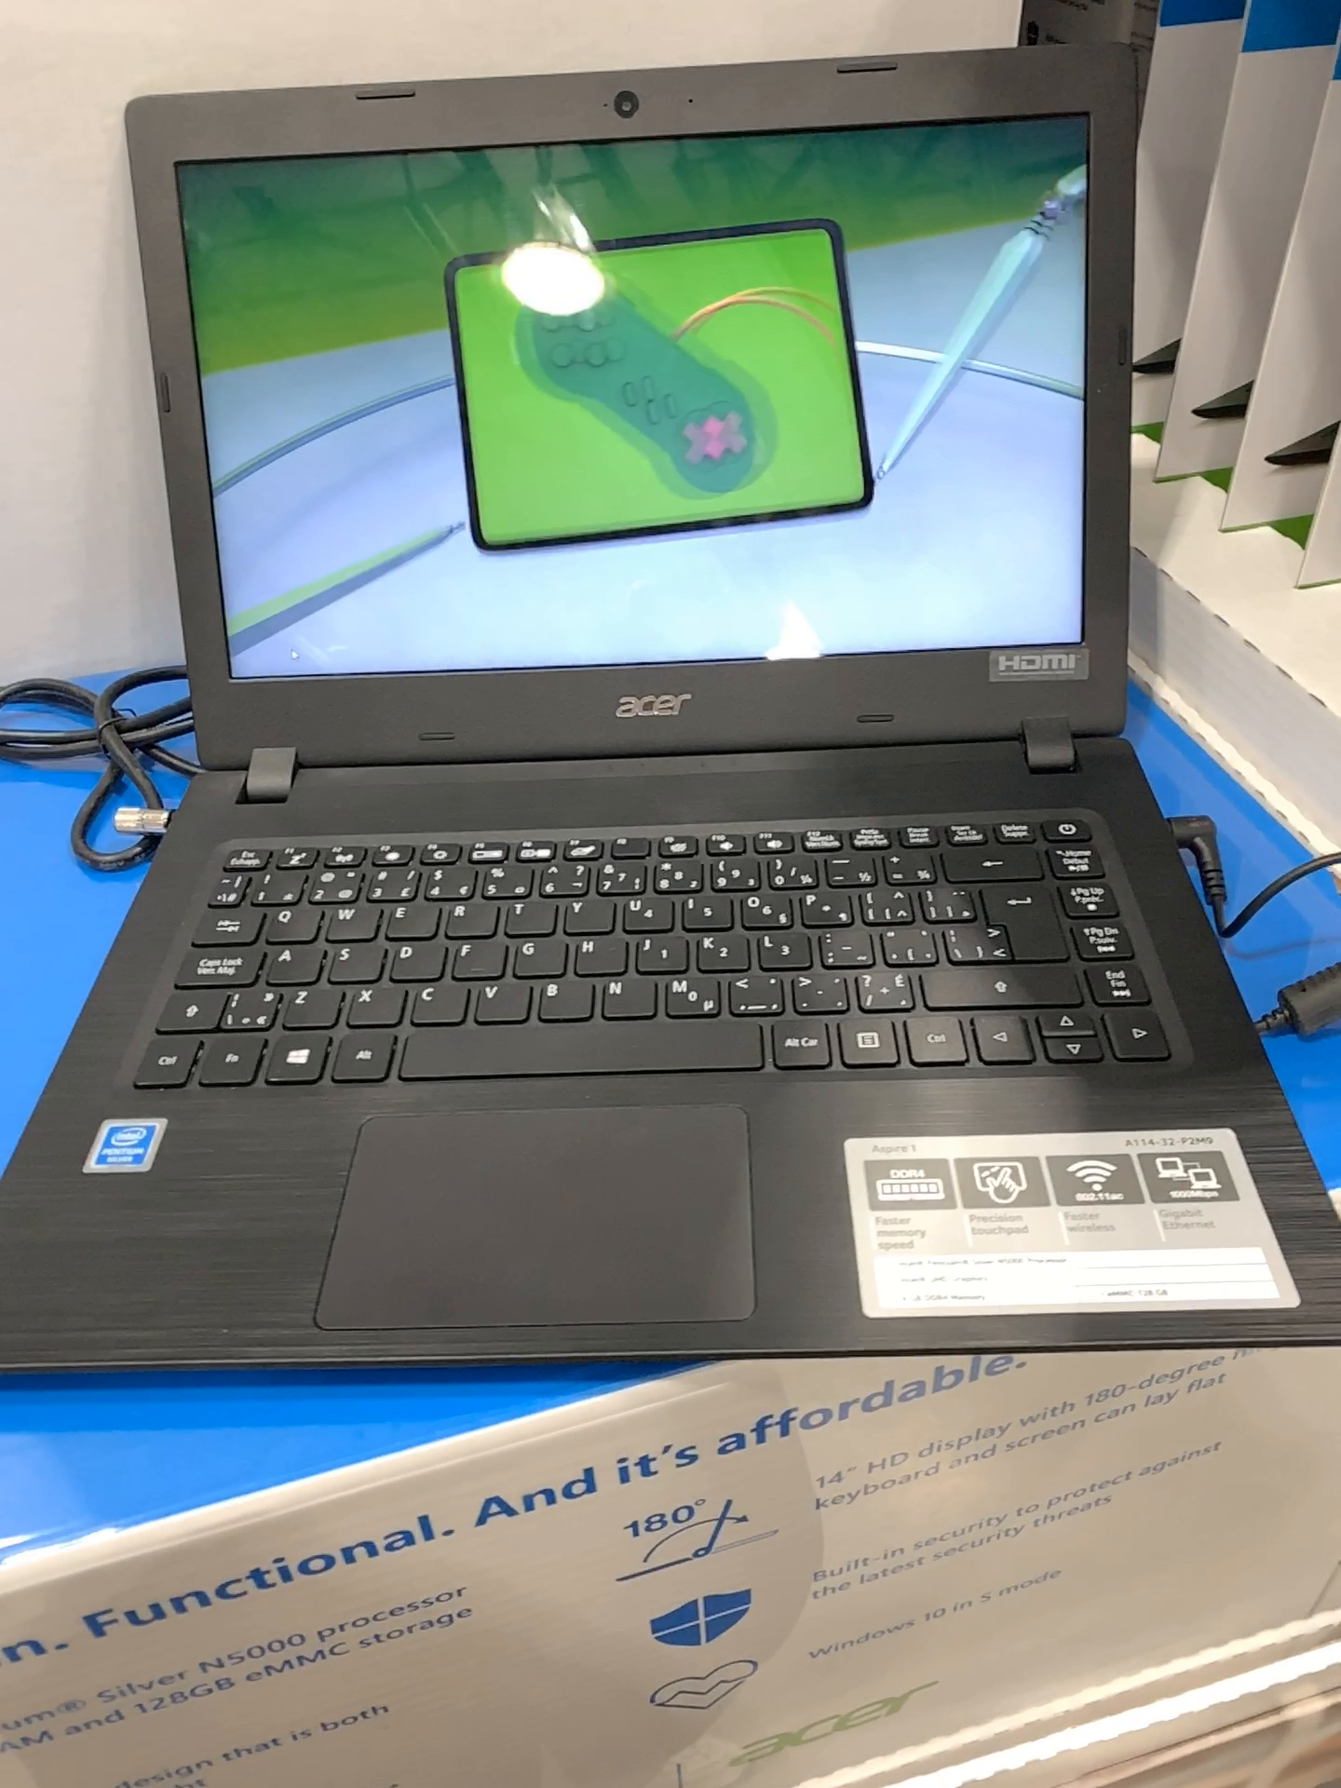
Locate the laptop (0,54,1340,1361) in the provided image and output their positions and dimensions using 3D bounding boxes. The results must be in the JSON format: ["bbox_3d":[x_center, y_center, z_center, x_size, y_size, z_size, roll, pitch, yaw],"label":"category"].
[{"bbox_3d":[-0.009,-0.077,0.365,0.318,0.186,0.329,-2,40,2],"label":"laptop"}]
